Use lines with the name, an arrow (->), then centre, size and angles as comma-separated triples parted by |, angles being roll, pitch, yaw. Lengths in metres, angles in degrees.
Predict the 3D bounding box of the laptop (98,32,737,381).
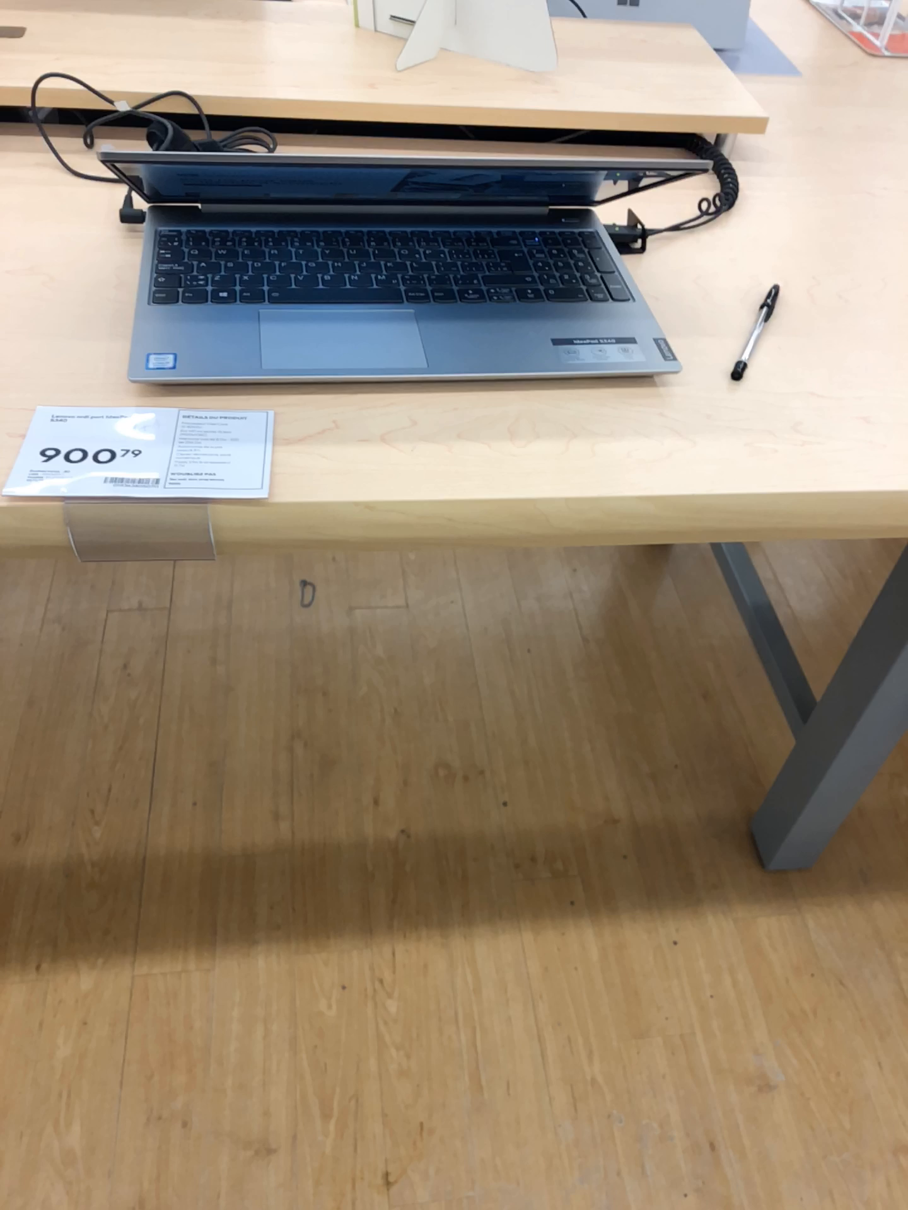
laptop -> -0.035, -0.271, 0.665 | 0.351, 0.122, 0.235 | -3, 46, -10
